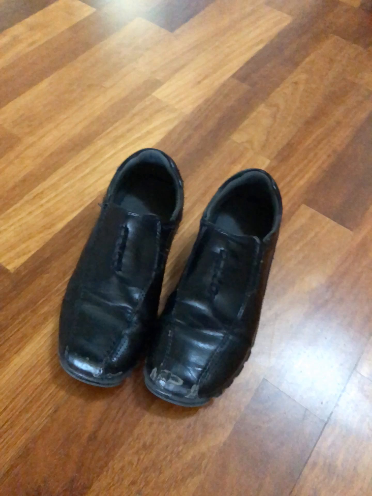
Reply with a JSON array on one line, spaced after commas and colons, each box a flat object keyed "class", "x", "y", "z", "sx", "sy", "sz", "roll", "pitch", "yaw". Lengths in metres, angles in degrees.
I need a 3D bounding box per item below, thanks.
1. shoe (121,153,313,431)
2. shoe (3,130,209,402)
[{"class": "shoe", "x": 0.036, "y": 0.029, "z": 0.382, "sx": 0.091, "sy": 0.075, "sz": 0.233, "roll": 21, "pitch": 59, "yaw": 9}, {"class": "shoe", "x": -0.058, "y": 0.006, "z": 0.387, "sx": 0.094, "sy": 0.075, "sz": 0.233, "roll": 16, "pitch": 59, "yaw": 6}]
